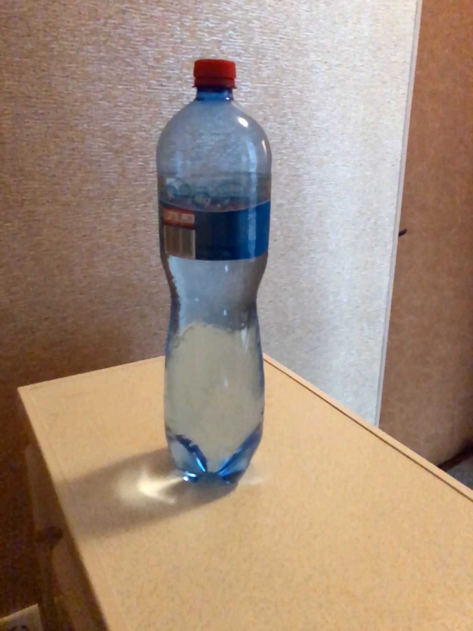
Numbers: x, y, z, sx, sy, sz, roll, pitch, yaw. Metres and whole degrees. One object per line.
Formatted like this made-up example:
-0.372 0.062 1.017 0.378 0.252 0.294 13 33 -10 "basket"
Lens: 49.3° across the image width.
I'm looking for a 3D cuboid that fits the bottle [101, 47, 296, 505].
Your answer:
-0.023 -0.027 0.413 0.100 0.318 0.100 0 18 0 "bottle"
